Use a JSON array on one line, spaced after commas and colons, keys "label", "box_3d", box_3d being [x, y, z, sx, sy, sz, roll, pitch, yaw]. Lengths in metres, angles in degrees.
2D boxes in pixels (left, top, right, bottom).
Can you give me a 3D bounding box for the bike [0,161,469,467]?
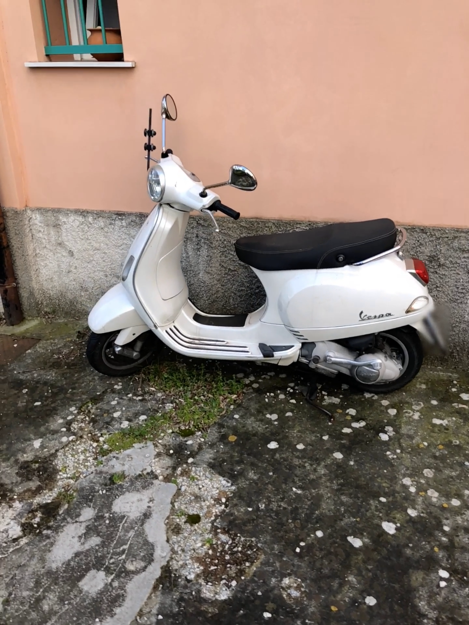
[{"label": "bike", "box_3d": [0.023, 0.002, 2.211, 1.657, 1.085, 0.647, 0, 23, 8]}]
